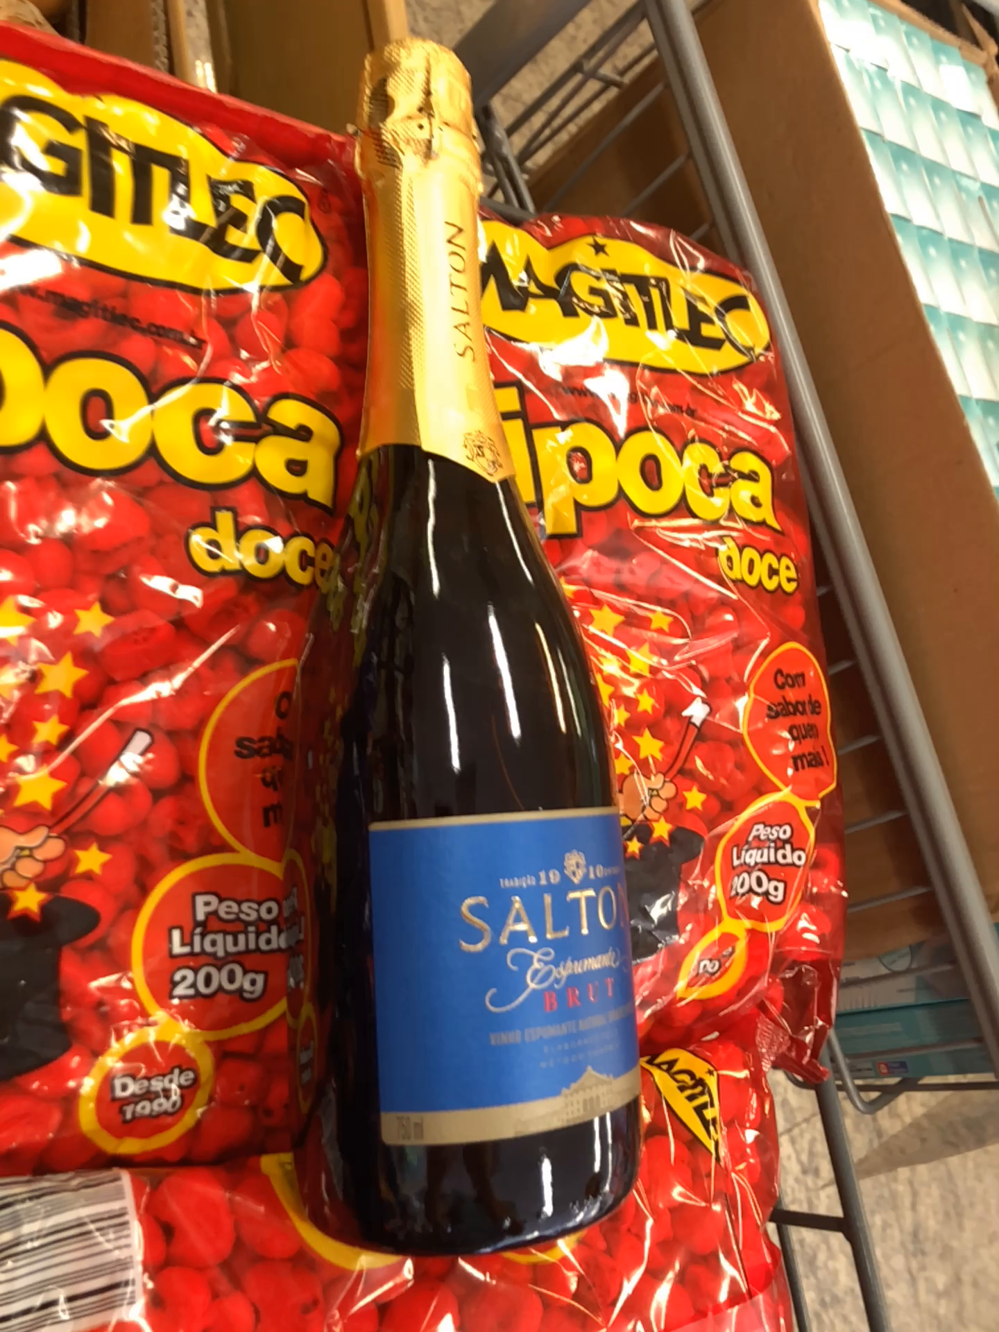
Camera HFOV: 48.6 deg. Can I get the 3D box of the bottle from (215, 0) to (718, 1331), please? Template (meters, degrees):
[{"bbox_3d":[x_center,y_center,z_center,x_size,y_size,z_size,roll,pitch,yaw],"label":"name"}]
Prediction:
[{"bbox_3d":[-0.012,-0.024,0.282,0.091,0.080,0.310,2,84,-40],"label":"bottle"}]
